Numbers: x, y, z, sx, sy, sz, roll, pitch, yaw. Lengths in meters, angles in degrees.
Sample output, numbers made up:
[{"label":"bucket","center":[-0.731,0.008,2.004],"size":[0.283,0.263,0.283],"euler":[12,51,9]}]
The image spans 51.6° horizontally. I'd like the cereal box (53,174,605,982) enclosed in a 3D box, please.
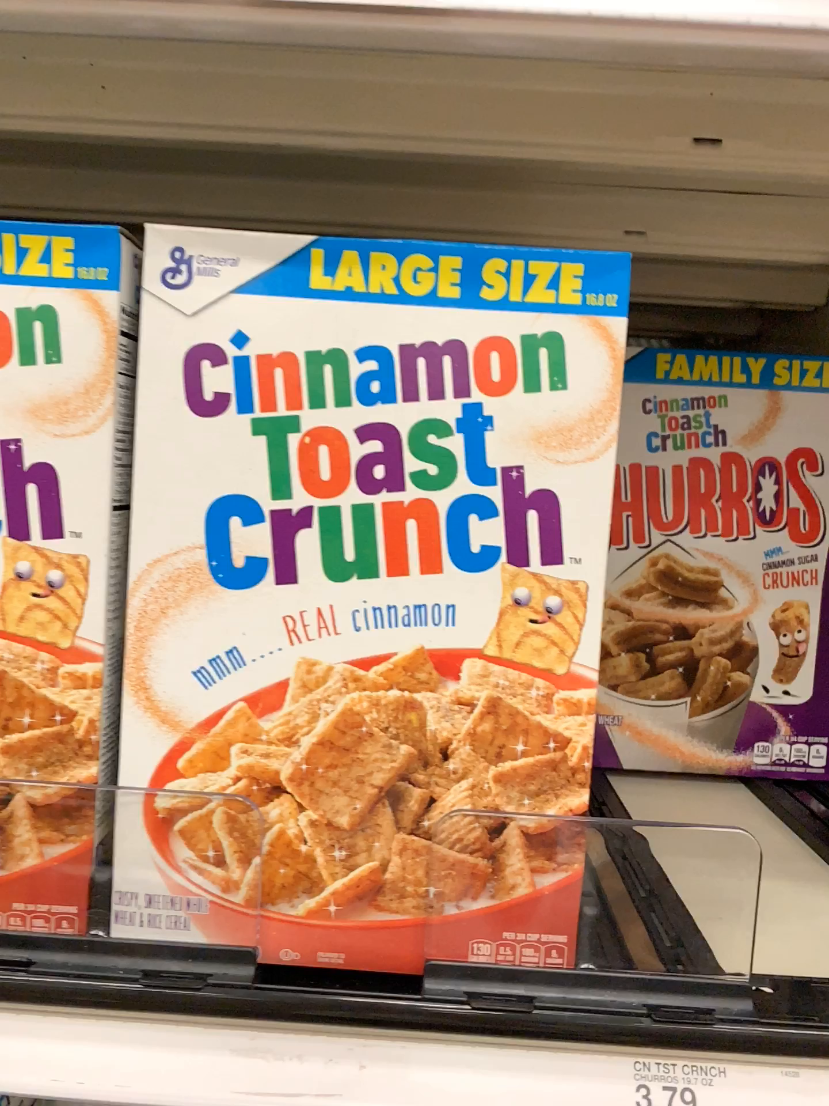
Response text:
[{"label":"cereal box","center":[-0.034,0.010,0.354],"size":[0.190,0.290,0.070],"euler":[4,3,1]}]
